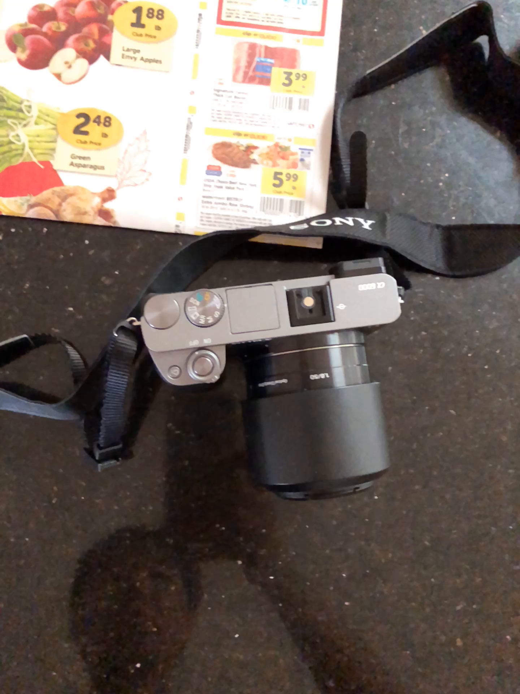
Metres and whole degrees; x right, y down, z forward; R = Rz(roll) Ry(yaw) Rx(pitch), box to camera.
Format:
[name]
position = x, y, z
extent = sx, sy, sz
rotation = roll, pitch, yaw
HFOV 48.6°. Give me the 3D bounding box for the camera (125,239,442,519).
[camera]
position = 0.008, 0.016, 0.295
extent = 0.130, 0.070, 0.110
rotation = -7, 85, -4
